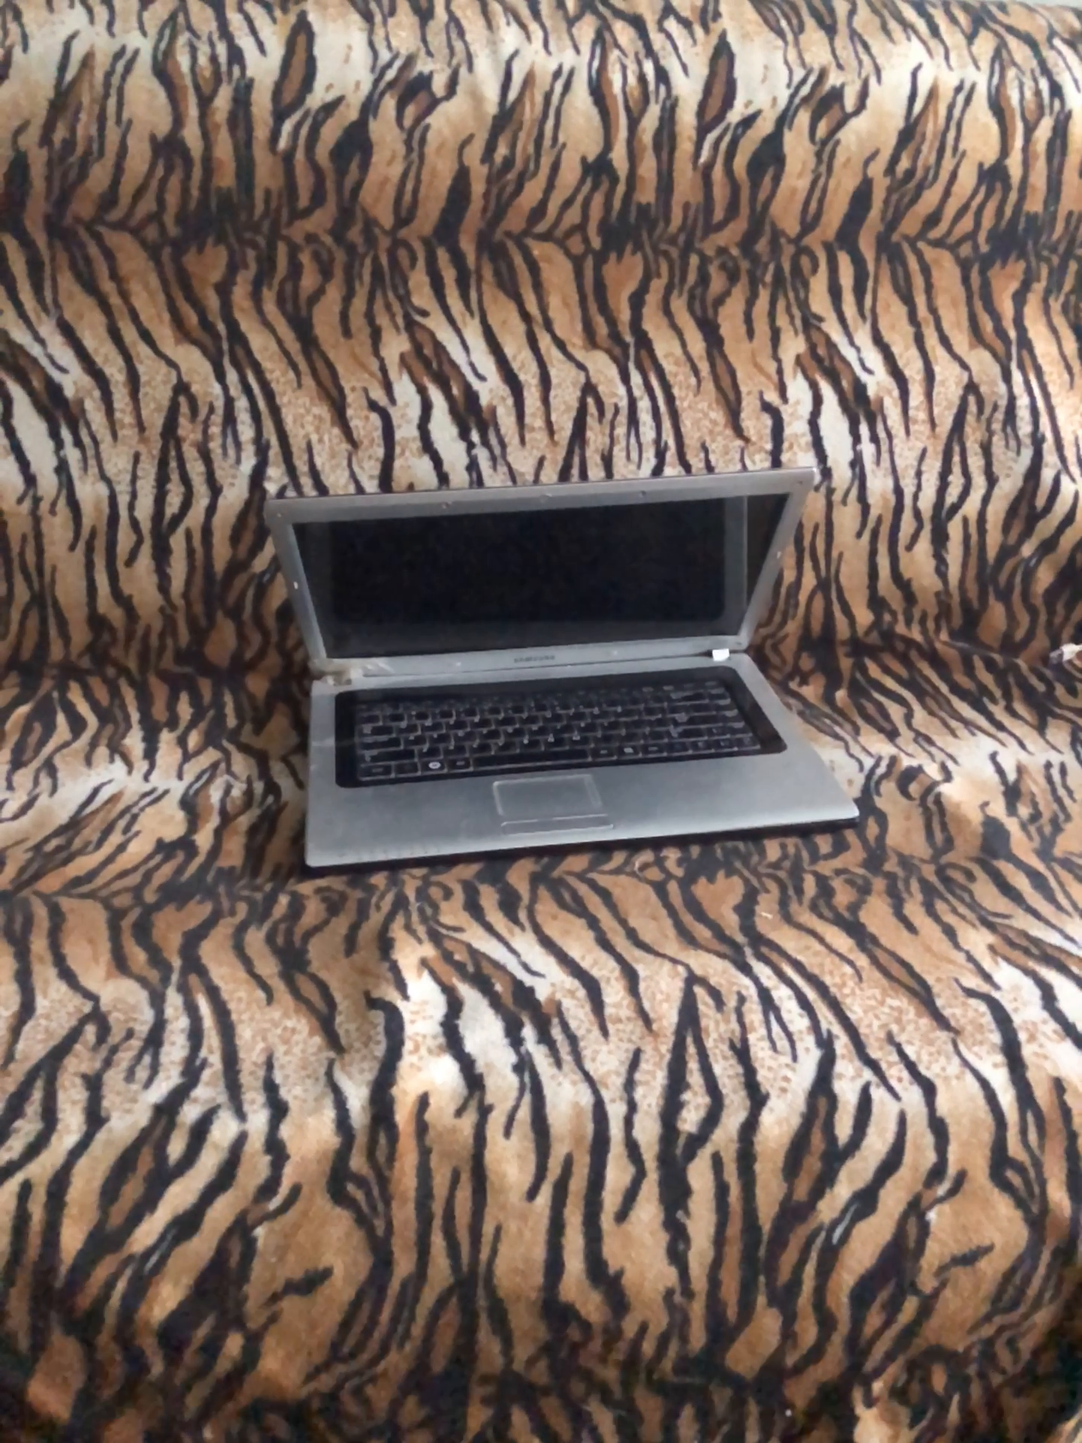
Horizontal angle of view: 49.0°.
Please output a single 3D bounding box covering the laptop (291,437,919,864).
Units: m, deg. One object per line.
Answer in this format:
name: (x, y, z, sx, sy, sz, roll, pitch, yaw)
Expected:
laptop: (0.019, -0.062, 0.797, 0.350, 0.179, 0.239, -3, 31, -8)
